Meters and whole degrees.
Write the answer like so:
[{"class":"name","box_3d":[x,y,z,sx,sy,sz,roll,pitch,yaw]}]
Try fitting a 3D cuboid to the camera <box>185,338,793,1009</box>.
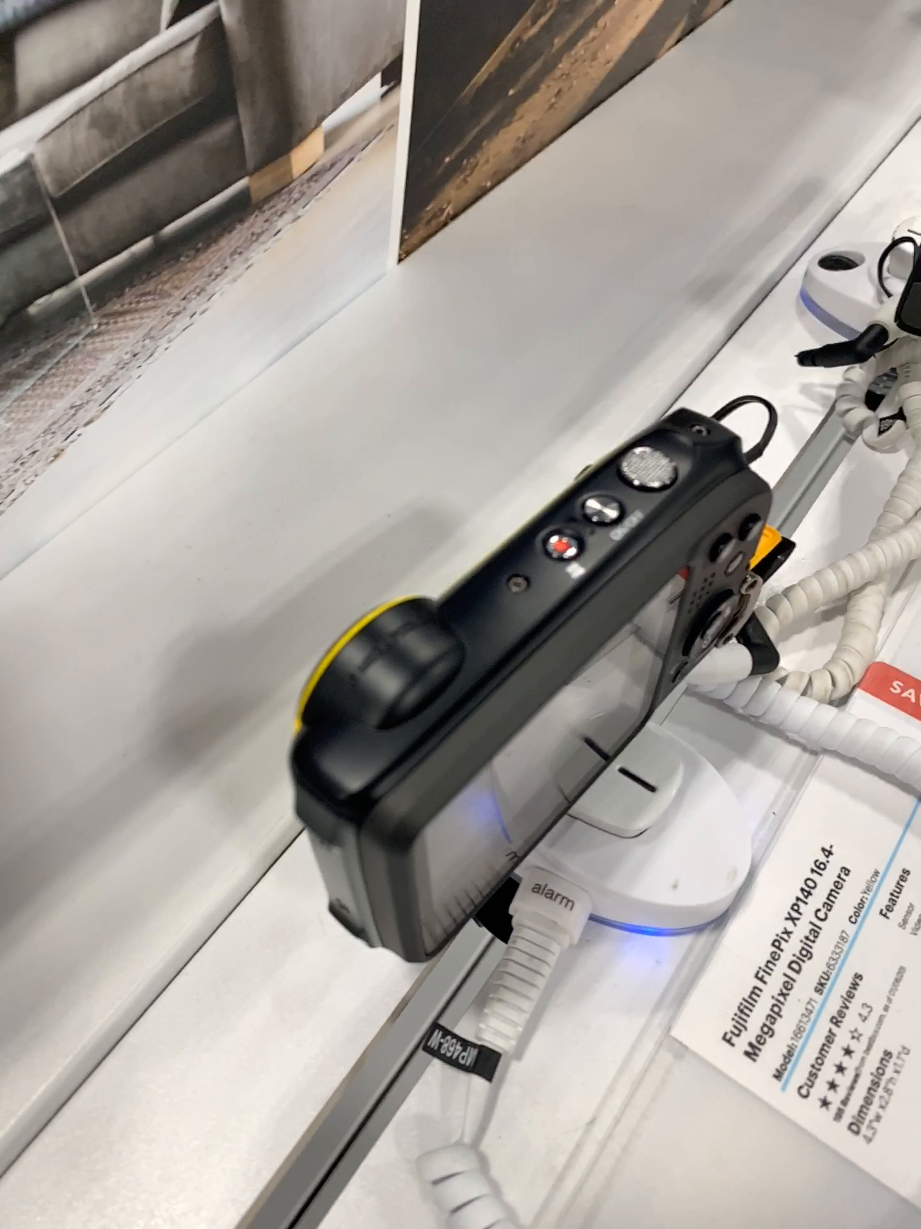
[{"class":"camera","box_3d":[0.011,0.006,0.178,0.040,0.060,0.110,32,56,23]}]
